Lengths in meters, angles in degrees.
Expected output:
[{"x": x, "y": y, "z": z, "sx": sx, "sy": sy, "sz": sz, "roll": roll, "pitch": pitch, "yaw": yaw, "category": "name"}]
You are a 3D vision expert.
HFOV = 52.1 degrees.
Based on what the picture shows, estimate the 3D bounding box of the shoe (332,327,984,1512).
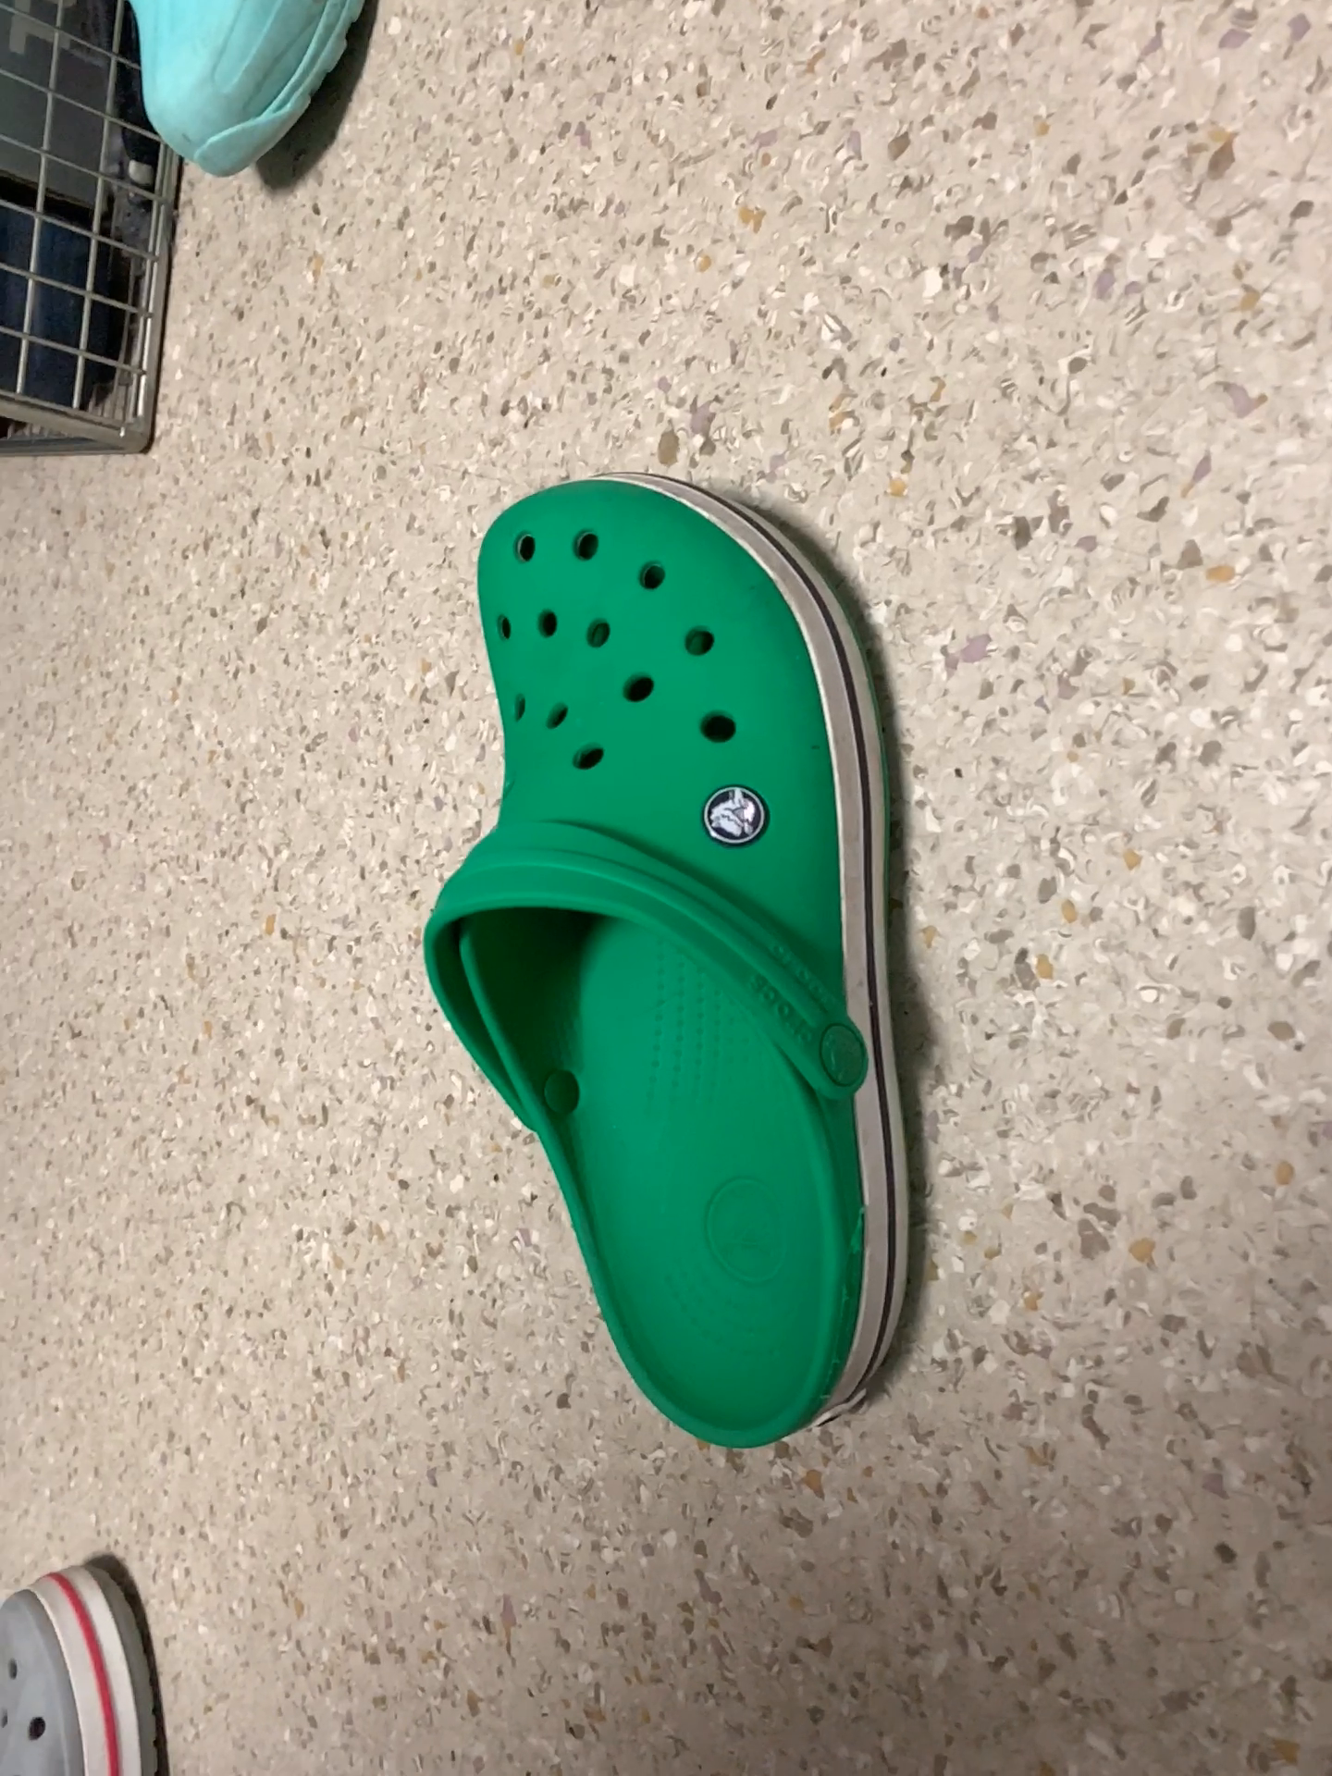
[{"x": -0.008, "y": 0.009, "z": 0.332, "sx": 0.108, "sy": 0.082, "sz": 0.234, "roll": -14, "pitch": 79, "yaw": 43, "category": "shoe"}]
